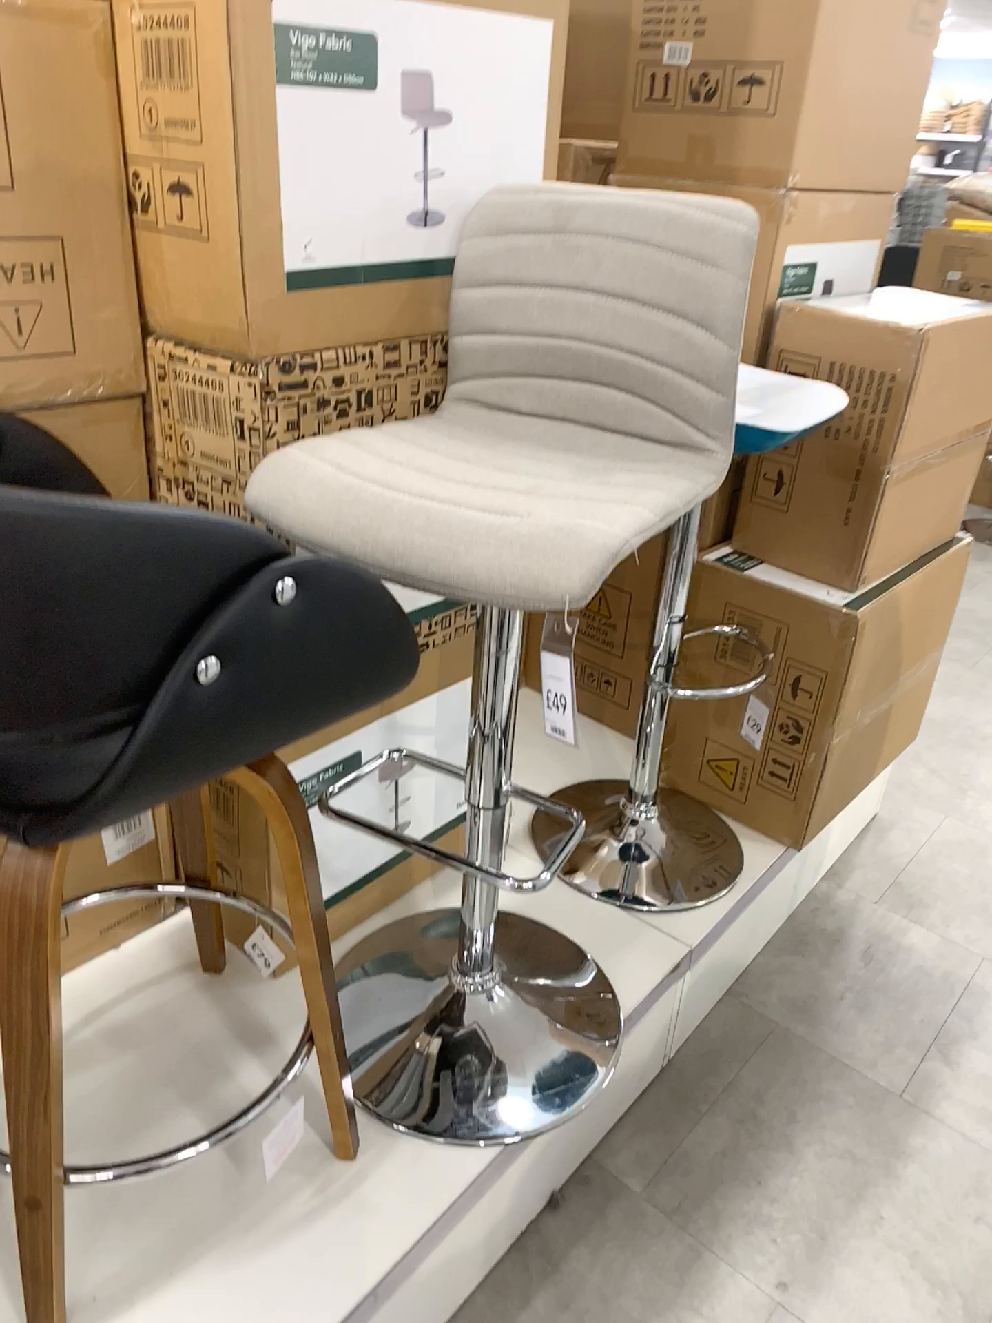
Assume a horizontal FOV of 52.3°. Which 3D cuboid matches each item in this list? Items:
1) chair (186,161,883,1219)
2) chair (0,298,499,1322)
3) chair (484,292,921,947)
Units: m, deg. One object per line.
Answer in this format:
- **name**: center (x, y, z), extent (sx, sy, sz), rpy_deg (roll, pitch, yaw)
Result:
- **chair**: center (0.026, -0.004, 1.173), extent (0.465, 0.985, 0.511), rpy_deg (21, 30, 29)
- **chair**: center (-0.391, 0.137, 1.023), extent (0.536, 0.866, 0.490), rpy_deg (24, 32, 34)
- **chair**: center (0.287, -0.086, 1.529), extent (0.389, 0.826, 0.406), rpy_deg (21, 30, 29)
